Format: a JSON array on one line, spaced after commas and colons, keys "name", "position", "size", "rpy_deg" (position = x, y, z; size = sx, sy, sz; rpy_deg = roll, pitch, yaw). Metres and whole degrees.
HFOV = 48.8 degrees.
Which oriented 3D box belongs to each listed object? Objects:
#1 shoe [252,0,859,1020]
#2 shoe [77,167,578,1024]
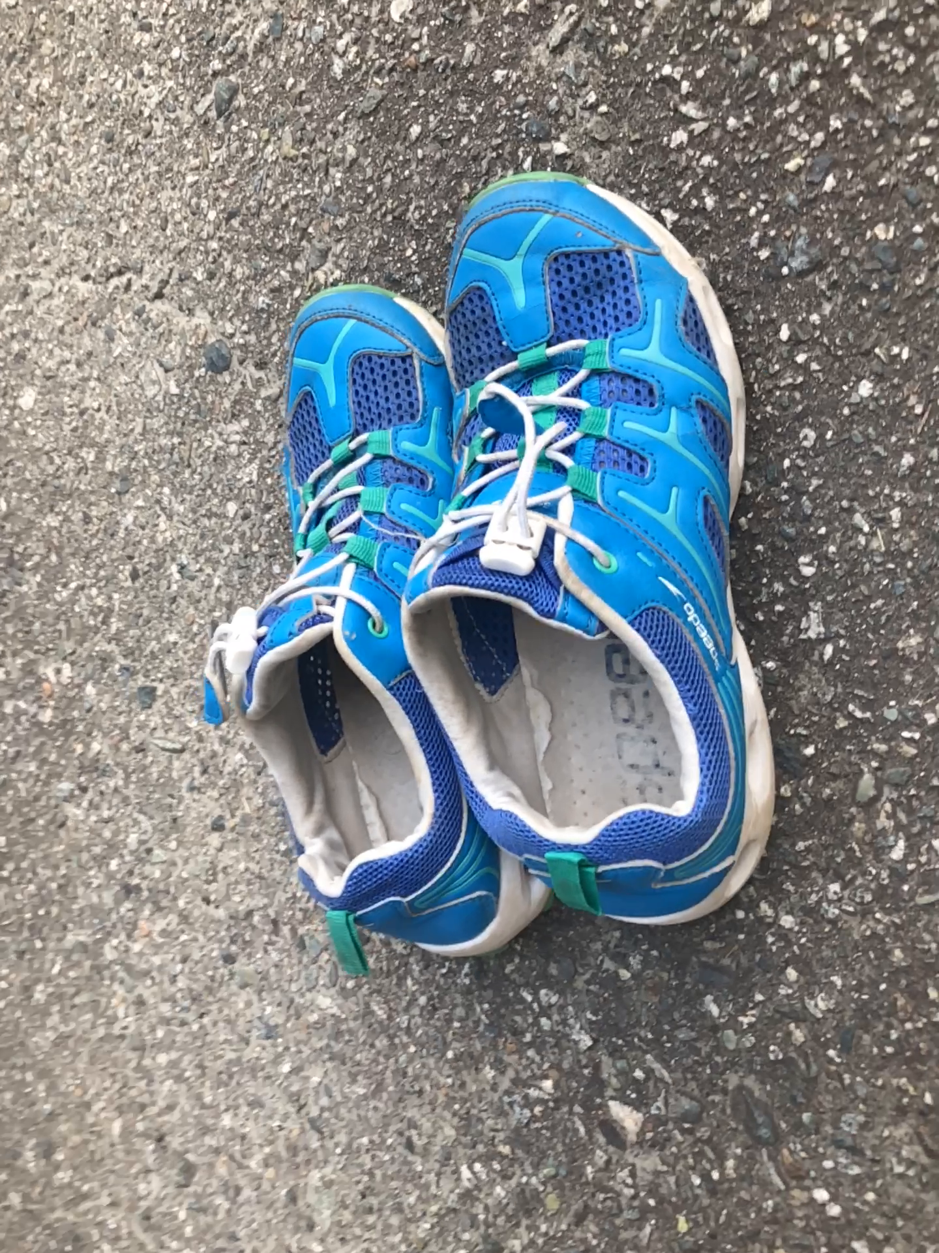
[{"name": "shoe", "position": [0.025, -0.027, 0.307], "size": [0.100, 0.090, 0.250], "rpy_deg": [-15, 84, 35]}, {"name": "shoe", "position": [-0.052, -0.005, 0.372], "size": [0.100, 0.090, 0.260], "rpy_deg": [-15, 84, 35]}]
